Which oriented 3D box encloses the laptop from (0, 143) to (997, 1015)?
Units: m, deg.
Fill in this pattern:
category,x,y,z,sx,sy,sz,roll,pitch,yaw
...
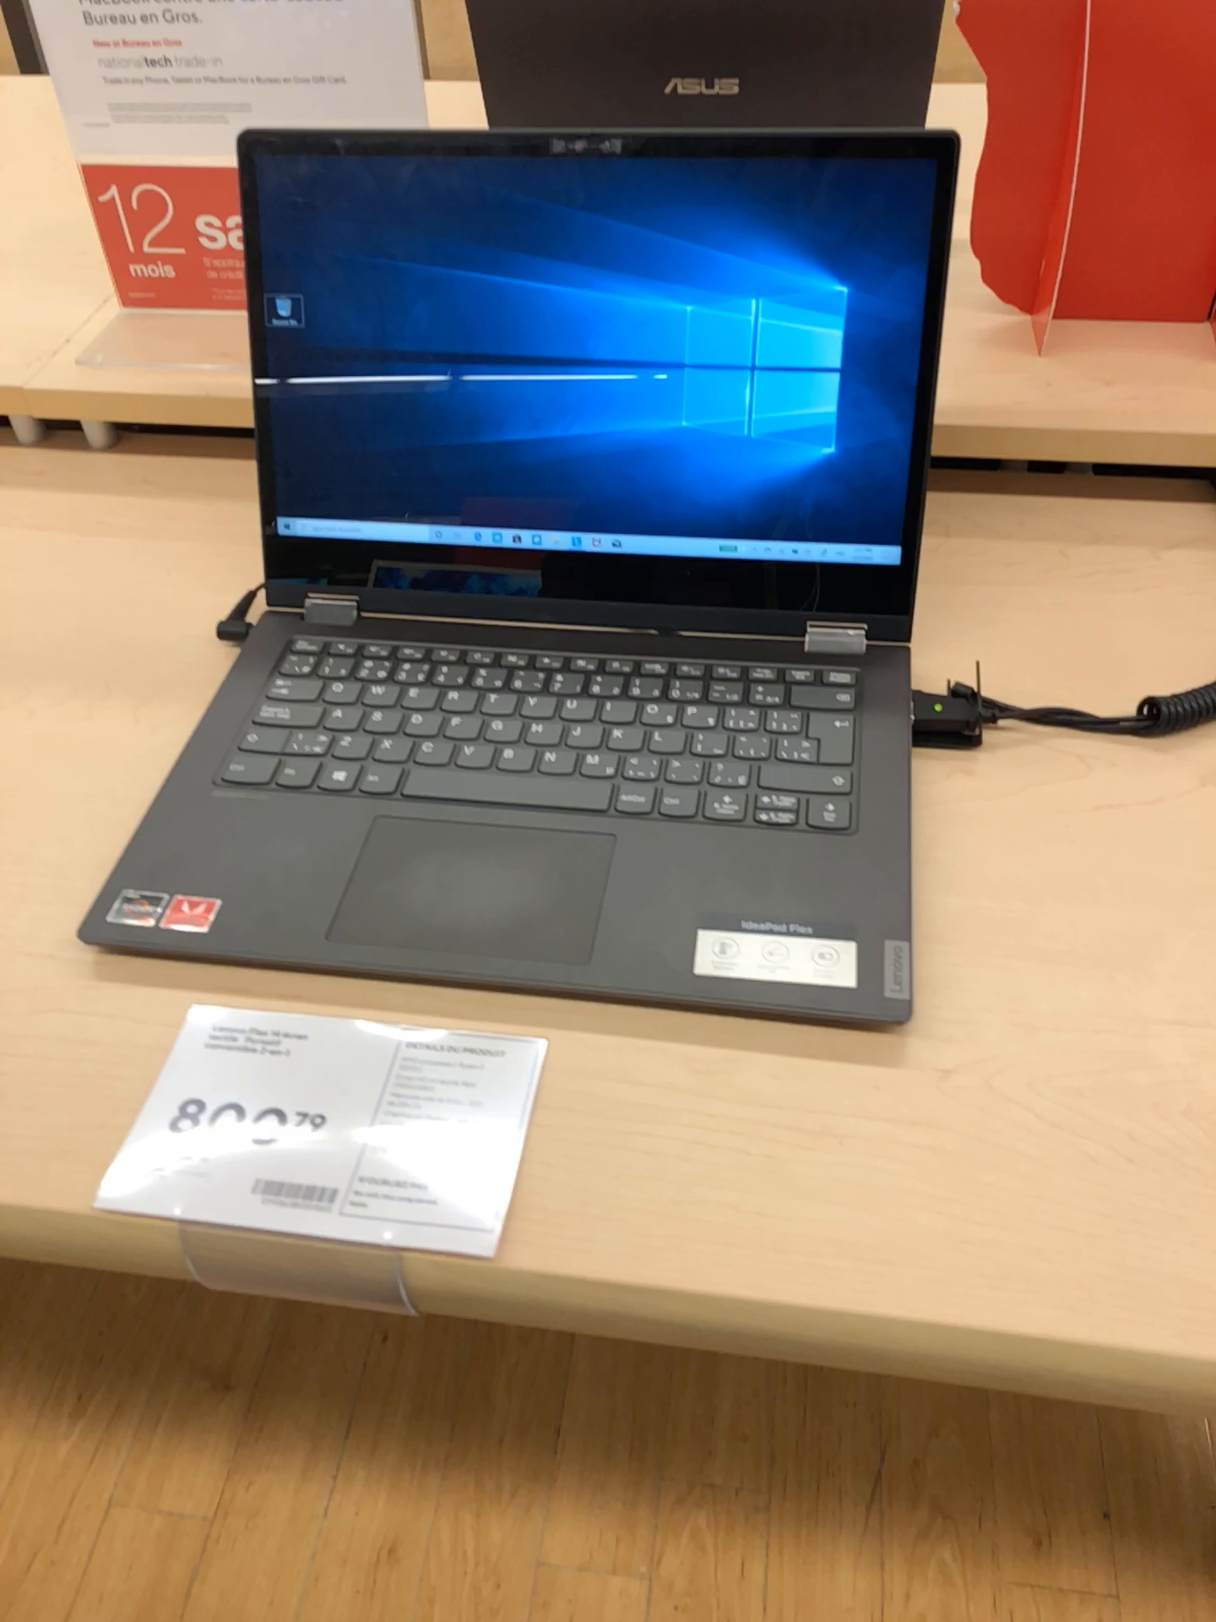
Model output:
category,x,y,z,sx,sy,sz,roll,pitch,yaw
laptop,-0.029,-0.115,0.545,0.319,0.198,0.307,5,45,8
